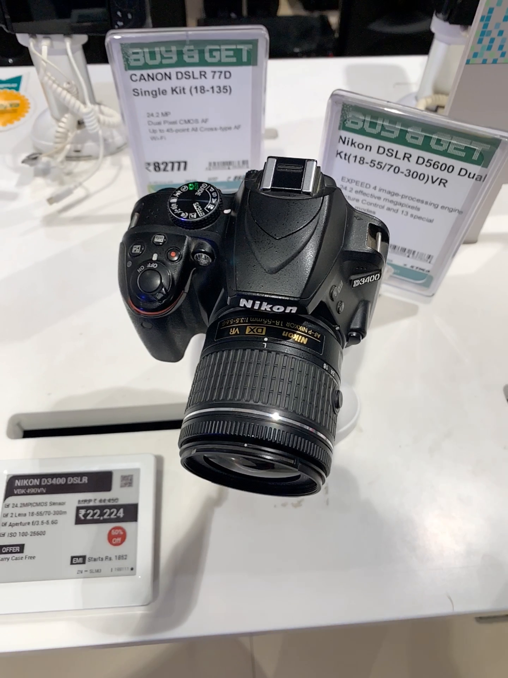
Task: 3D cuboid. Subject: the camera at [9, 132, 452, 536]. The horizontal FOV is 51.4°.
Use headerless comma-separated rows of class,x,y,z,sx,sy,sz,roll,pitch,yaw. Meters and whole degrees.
camera,0.000,-0.003,0.207,0.120,0.080,0.120,7,58,4
